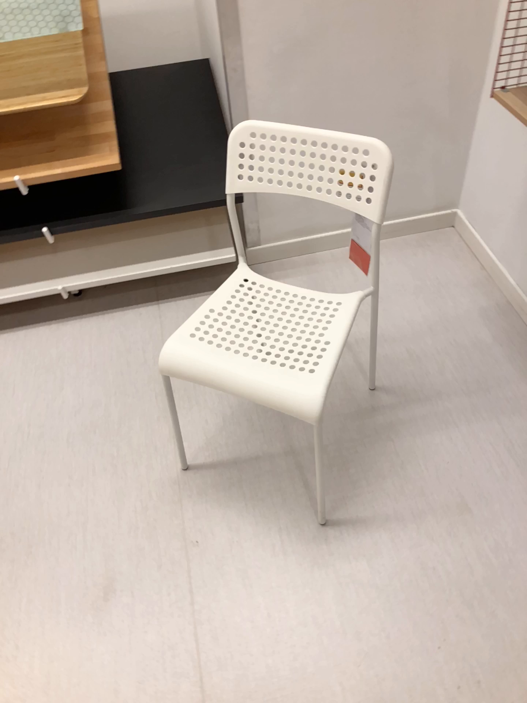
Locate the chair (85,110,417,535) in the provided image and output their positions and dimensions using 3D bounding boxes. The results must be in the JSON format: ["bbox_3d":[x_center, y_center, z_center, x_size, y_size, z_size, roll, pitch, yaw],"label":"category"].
[{"bbox_3d":[0.028,-0.043,1.280,0.421,0.735,0.472,16,51,20],"label":"chair"}]
